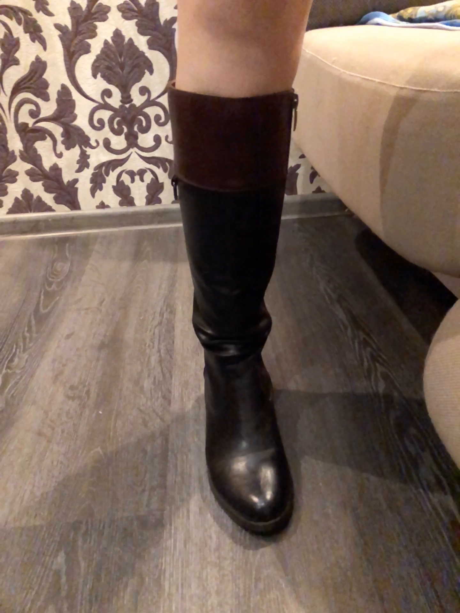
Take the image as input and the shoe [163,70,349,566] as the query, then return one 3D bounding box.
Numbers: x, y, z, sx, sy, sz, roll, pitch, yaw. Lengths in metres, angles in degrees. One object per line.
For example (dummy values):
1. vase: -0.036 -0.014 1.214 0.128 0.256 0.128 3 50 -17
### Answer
1. shoe: 0.014 0.003 0.515 0.110 0.417 0.272 -5 30 -3
